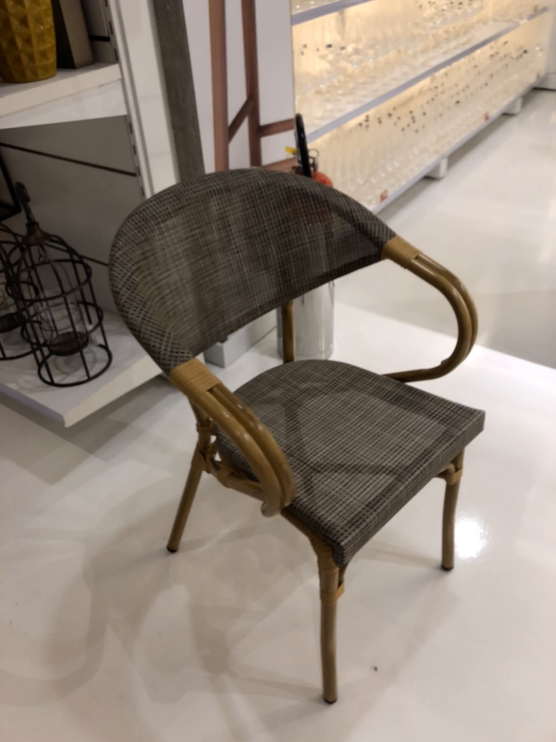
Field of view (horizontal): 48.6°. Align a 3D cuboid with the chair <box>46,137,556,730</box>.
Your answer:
[{"bbox_3d":[0.050,0.082,1.154,0.522,0.784,0.572,-33,46,-33],"label":"chair"}]
